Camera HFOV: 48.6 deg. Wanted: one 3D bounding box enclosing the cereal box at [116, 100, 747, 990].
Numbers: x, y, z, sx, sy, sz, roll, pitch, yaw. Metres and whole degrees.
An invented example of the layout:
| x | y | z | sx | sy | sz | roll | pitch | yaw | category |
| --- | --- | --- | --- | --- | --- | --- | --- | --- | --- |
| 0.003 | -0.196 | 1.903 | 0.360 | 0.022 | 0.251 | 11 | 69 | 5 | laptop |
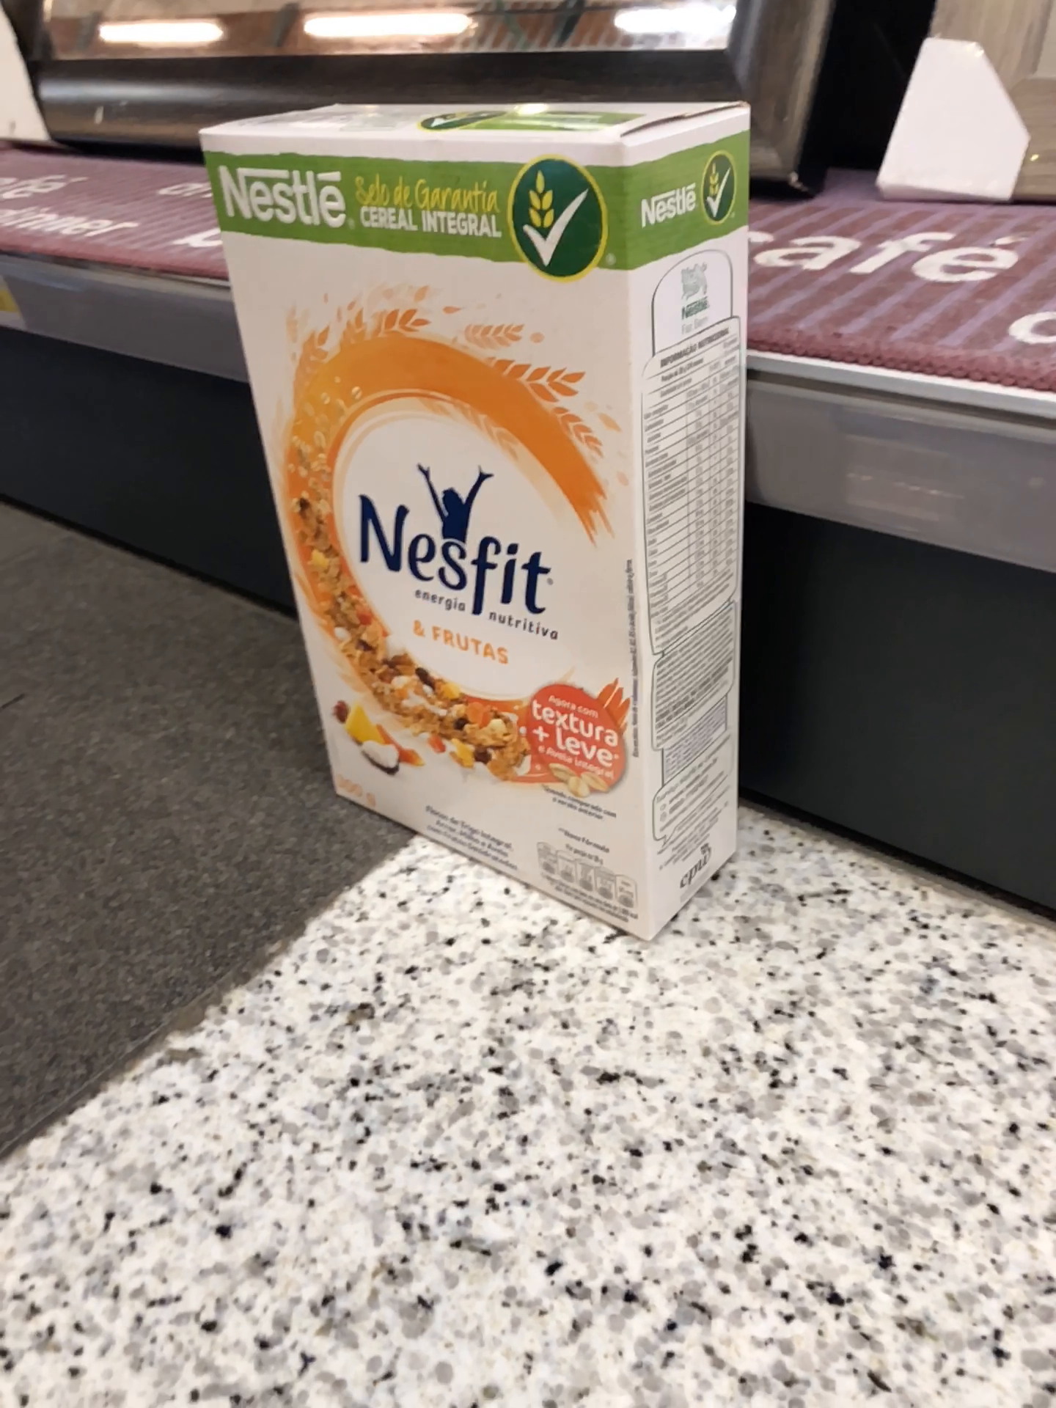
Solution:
| x | y | z | sx | sy | sz | roll | pitch | yaw | category |
| --- | --- | --- | --- | --- | --- | --- | --- | --- | --- |
| -0.021 | -0.049 | 0.375 | 0.171 | 0.248 | 0.060 | 19 | 41 | 34 | cereal box |
